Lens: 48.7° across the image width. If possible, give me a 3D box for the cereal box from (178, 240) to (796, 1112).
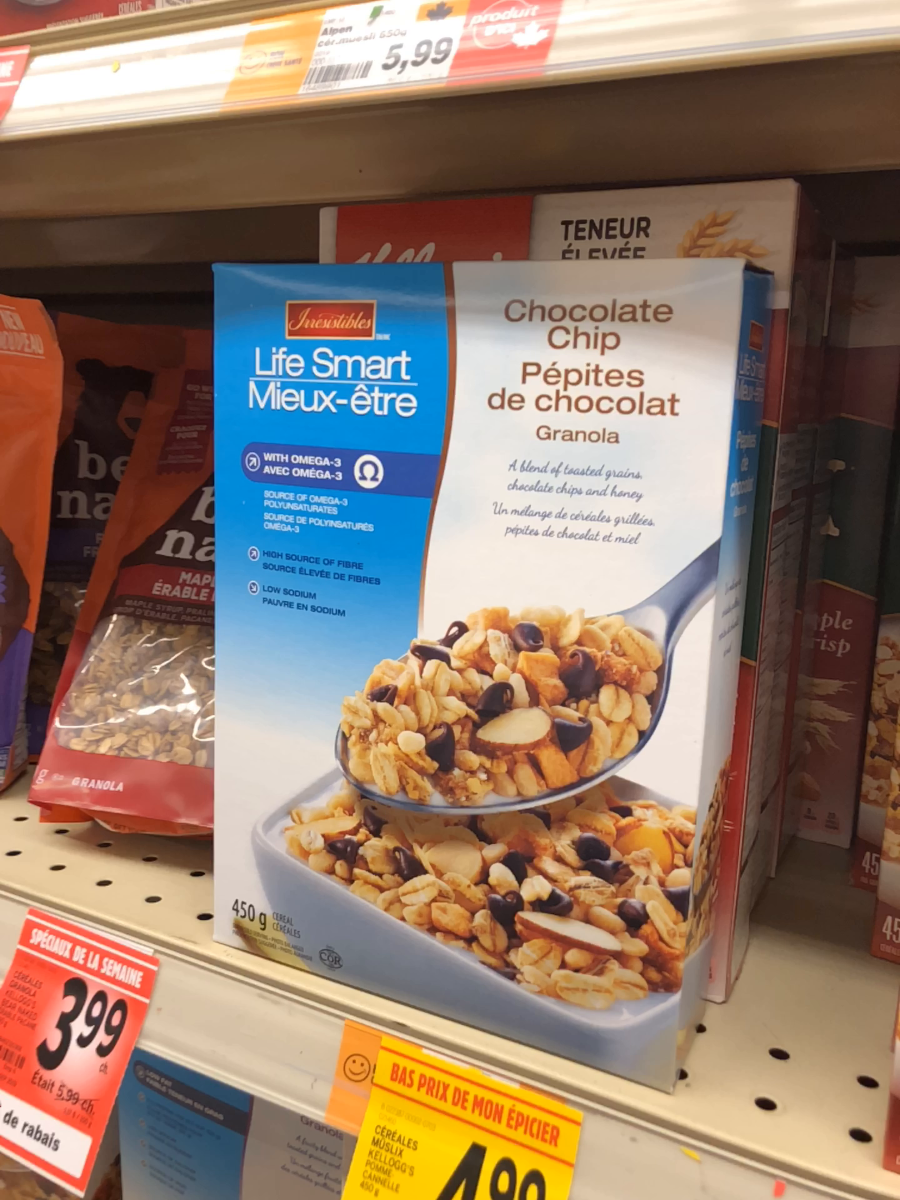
[{"bbox_3d":[0.003,0.014,0.325,0.180,0.239,0.050,7,9,23],"label":"cereal box"}]
